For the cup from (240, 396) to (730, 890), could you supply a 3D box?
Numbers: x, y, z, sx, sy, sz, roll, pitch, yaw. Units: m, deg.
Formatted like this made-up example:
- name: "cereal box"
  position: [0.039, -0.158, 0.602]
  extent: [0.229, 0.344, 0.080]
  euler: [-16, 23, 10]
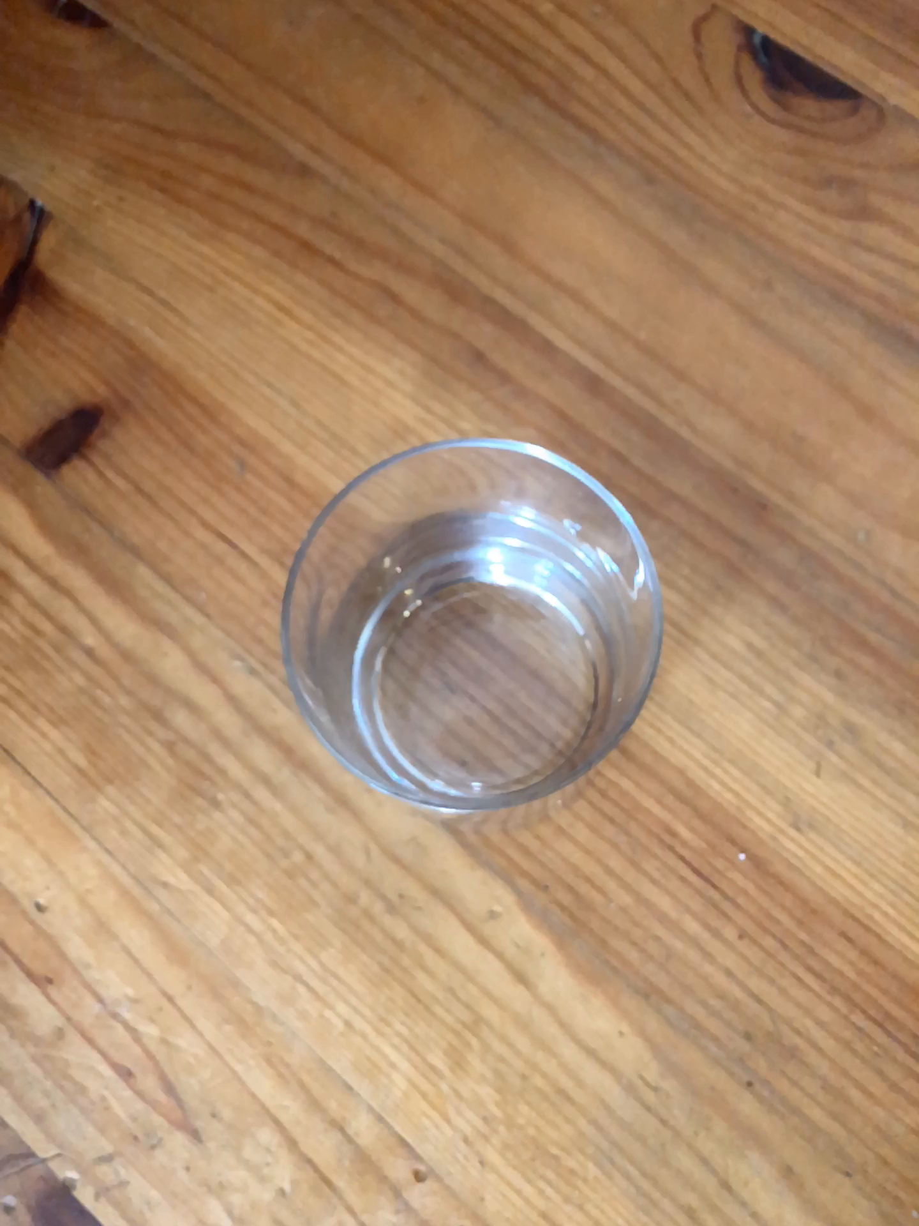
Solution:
- name: "cup"
  position: [0.005, 0.015, 0.258]
  extent: [0.082, 0.090, 0.087]
  euler: [-1, 75, 3]
